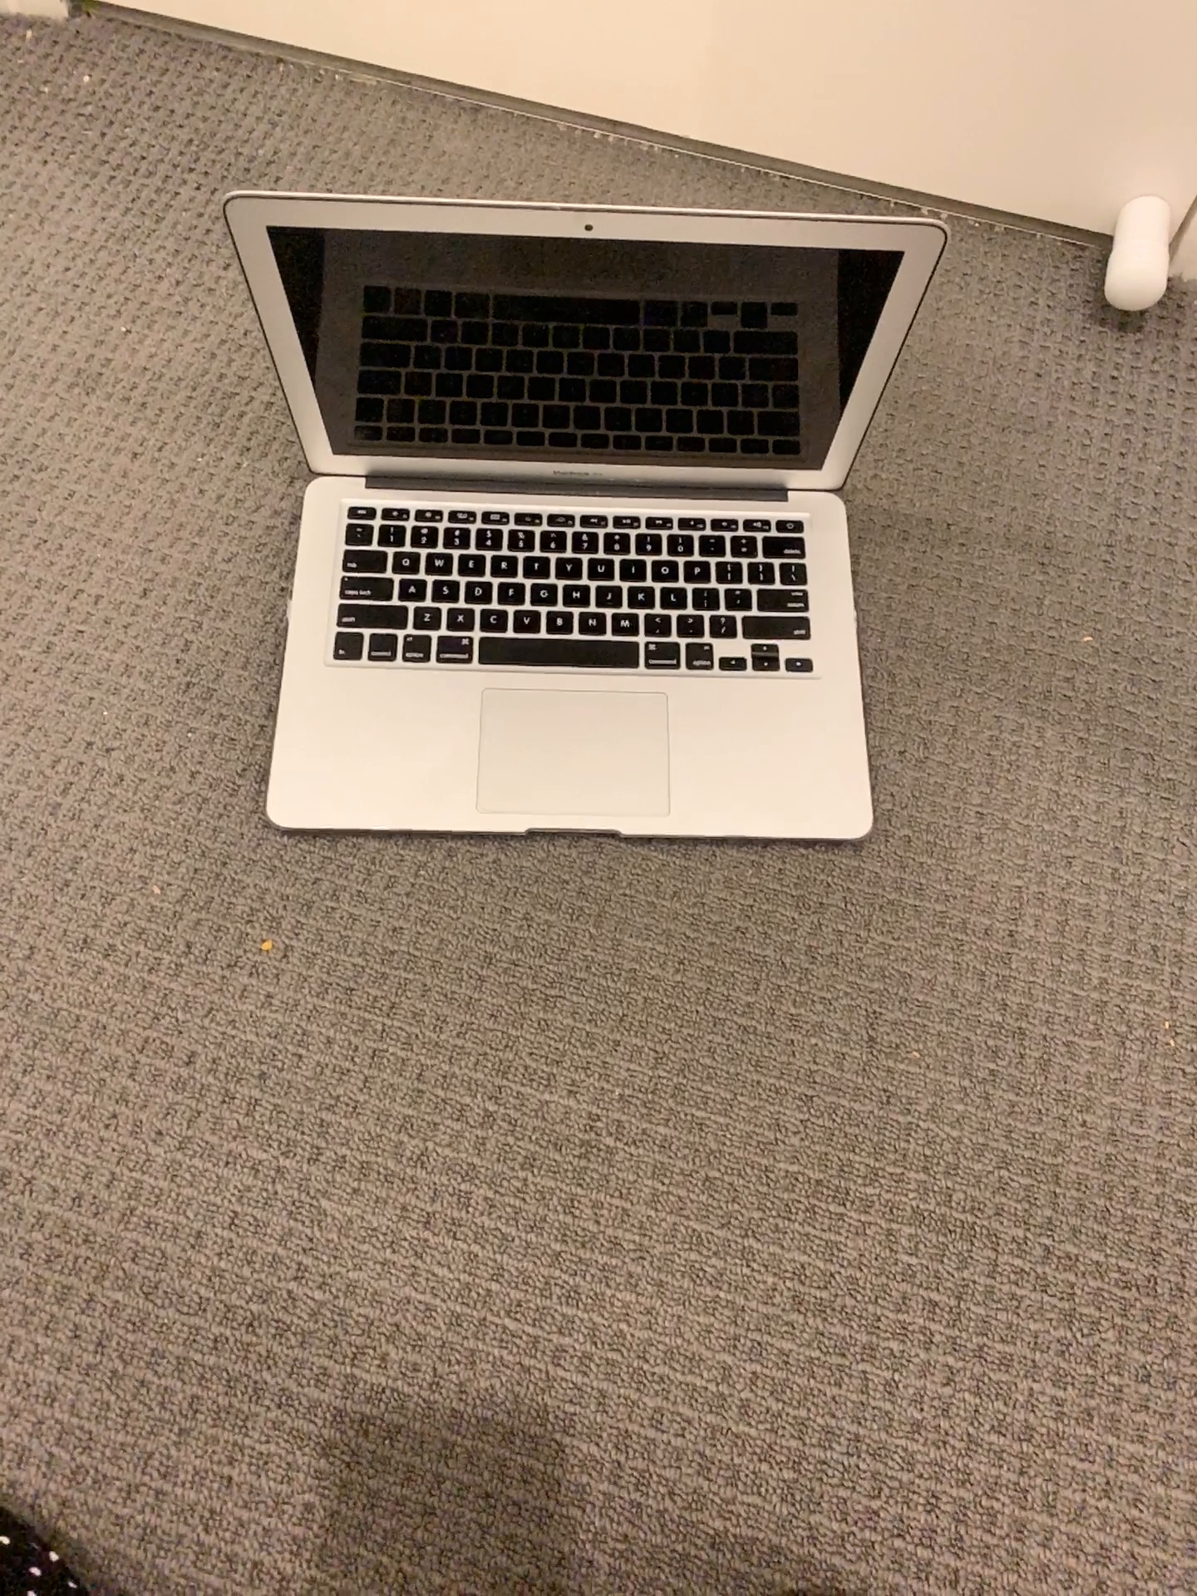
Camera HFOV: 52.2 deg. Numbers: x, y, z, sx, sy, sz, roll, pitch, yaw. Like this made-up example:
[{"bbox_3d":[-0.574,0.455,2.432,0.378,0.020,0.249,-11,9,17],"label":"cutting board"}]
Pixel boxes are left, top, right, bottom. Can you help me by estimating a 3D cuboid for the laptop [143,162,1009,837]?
[{"bbox_3d":[-0.010,-0.130,0.599,0.322,0.215,0.227,1,65,-2],"label":"laptop"}]
